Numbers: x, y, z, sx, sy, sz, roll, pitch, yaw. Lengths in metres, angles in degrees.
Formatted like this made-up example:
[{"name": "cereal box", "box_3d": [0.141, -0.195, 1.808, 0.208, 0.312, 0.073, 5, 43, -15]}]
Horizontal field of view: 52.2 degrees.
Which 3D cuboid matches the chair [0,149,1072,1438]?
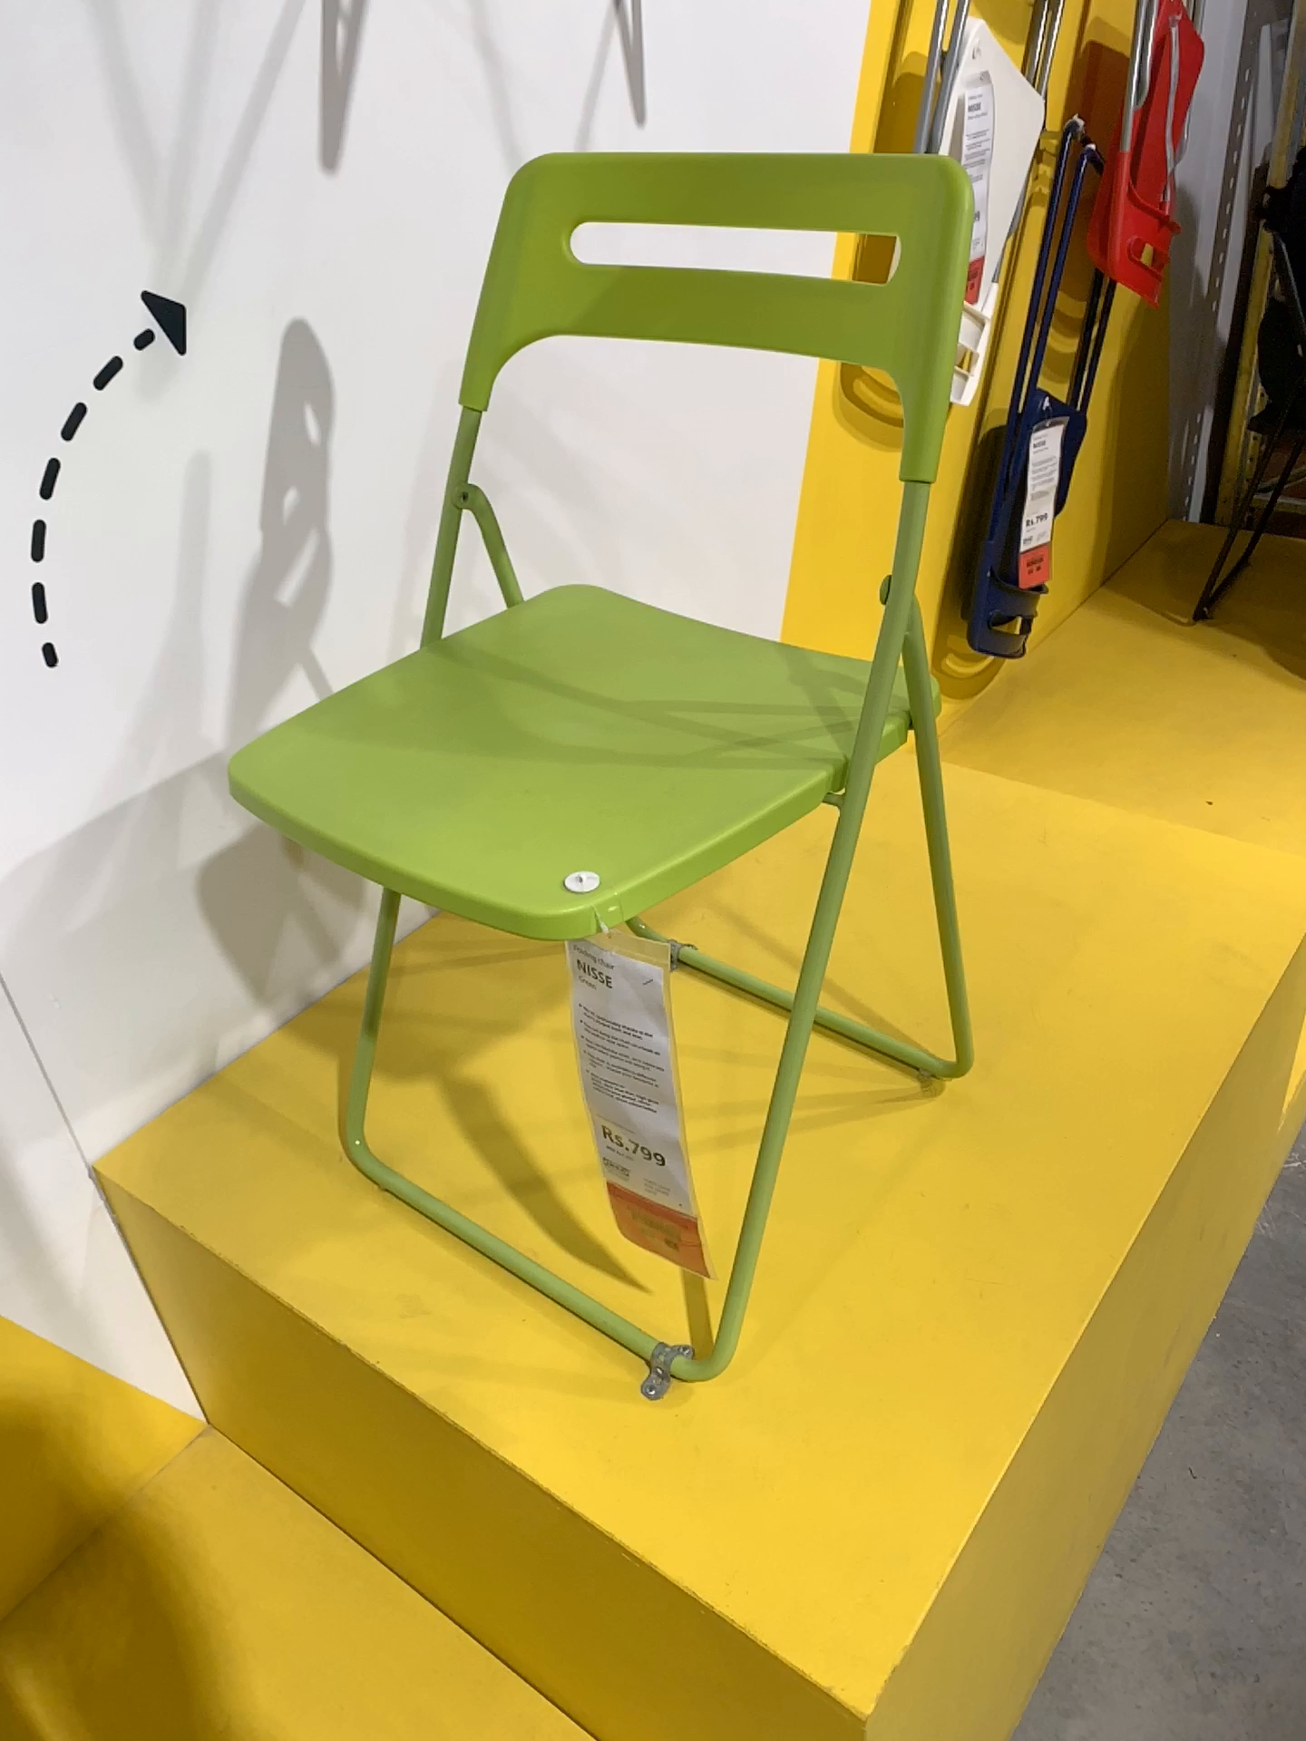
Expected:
[{"name": "chair", "box_3d": [-0.039, -0.087, 0.974, 0.451, 0.717, 0.461, 21, 42, 33]}]
